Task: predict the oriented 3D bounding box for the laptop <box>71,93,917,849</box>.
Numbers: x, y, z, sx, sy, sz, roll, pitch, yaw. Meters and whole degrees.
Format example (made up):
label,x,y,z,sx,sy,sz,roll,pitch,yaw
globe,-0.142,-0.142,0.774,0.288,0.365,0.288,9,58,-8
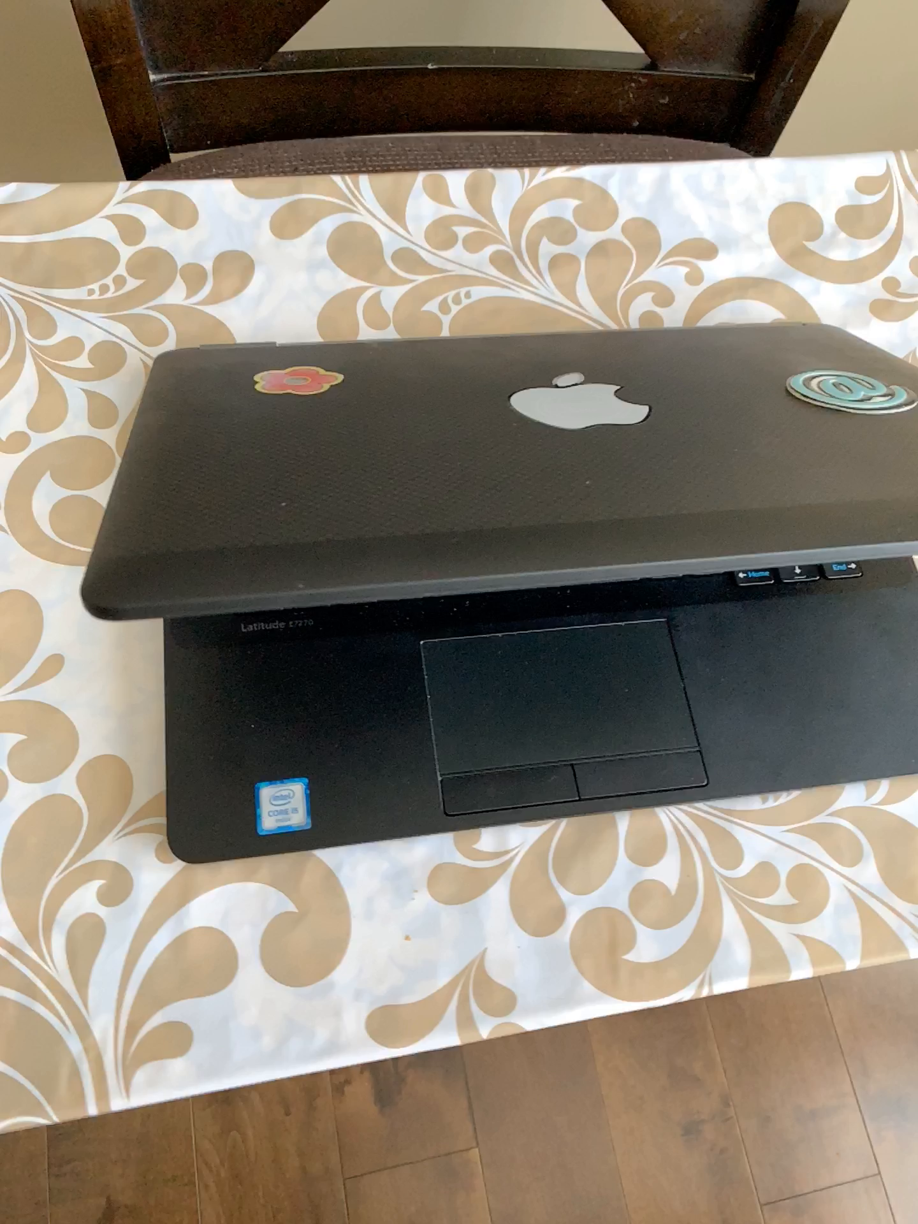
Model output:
label,x,y,z,sx,sy,sz,roll,pitch,yaw
laptop,0.045,-0.048,0.319,0.300,0.127,0.199,-5,67,-10
